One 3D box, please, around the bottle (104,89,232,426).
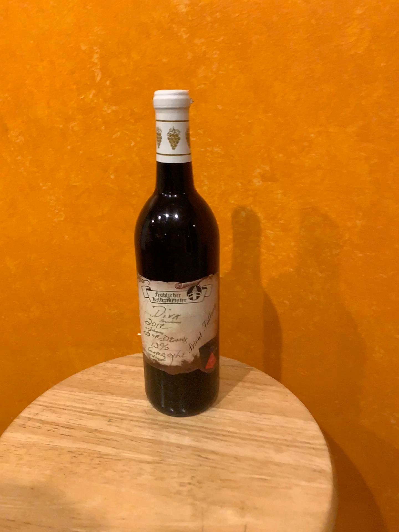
[{"bbox_3d":[-0.017,0.000,0.369,0.080,0.289,0.070,4,23,13],"label":"bottle"}]
